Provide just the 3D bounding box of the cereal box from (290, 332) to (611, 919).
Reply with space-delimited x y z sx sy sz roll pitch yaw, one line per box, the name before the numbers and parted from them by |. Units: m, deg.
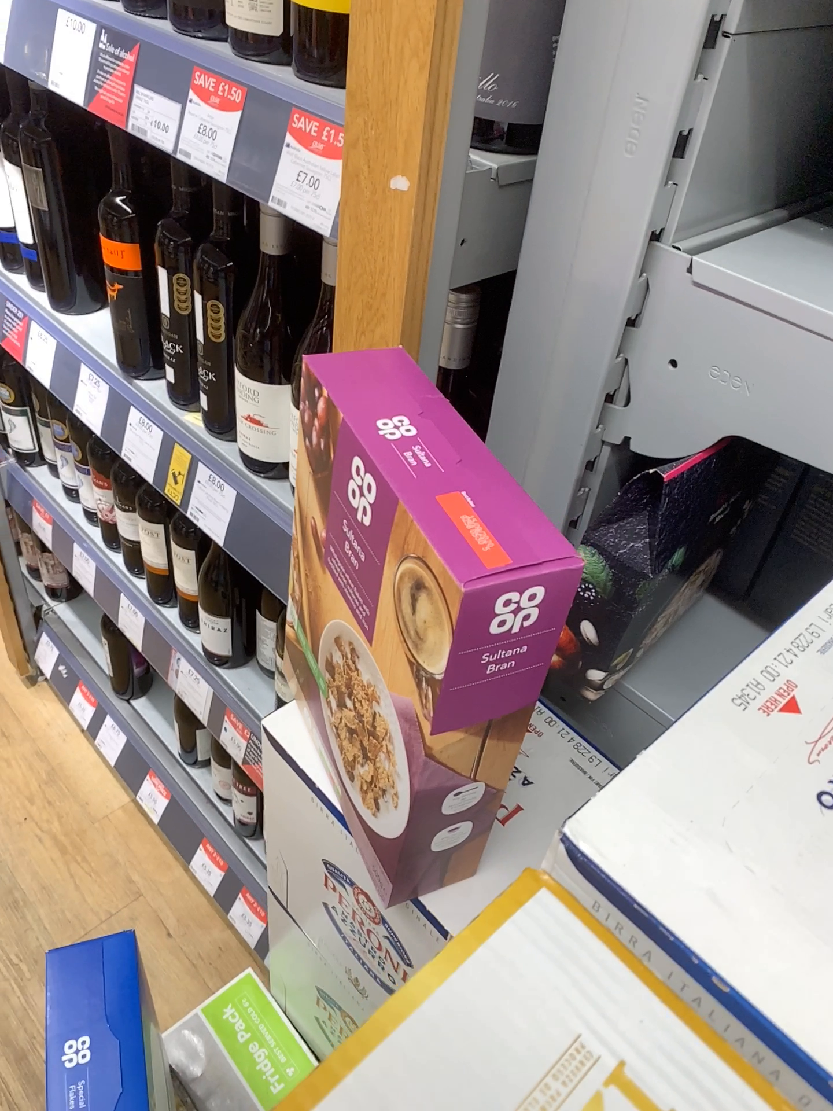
cereal box | -0.006 0.041 0.486 0.070 0.257 0.202 -11 44 -22
